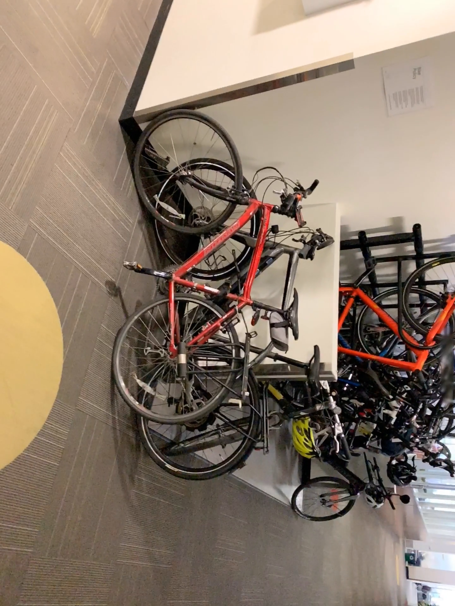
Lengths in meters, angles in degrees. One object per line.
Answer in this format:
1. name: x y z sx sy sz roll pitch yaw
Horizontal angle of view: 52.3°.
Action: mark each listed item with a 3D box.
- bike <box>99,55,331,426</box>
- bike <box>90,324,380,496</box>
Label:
1. bike: -0.022 -0.191 2.418 0.606 0.927 1.611 18 73 -66
2. bike: 0.067 0.565 2.459 0.696 1.149 0.726 22 71 -65
